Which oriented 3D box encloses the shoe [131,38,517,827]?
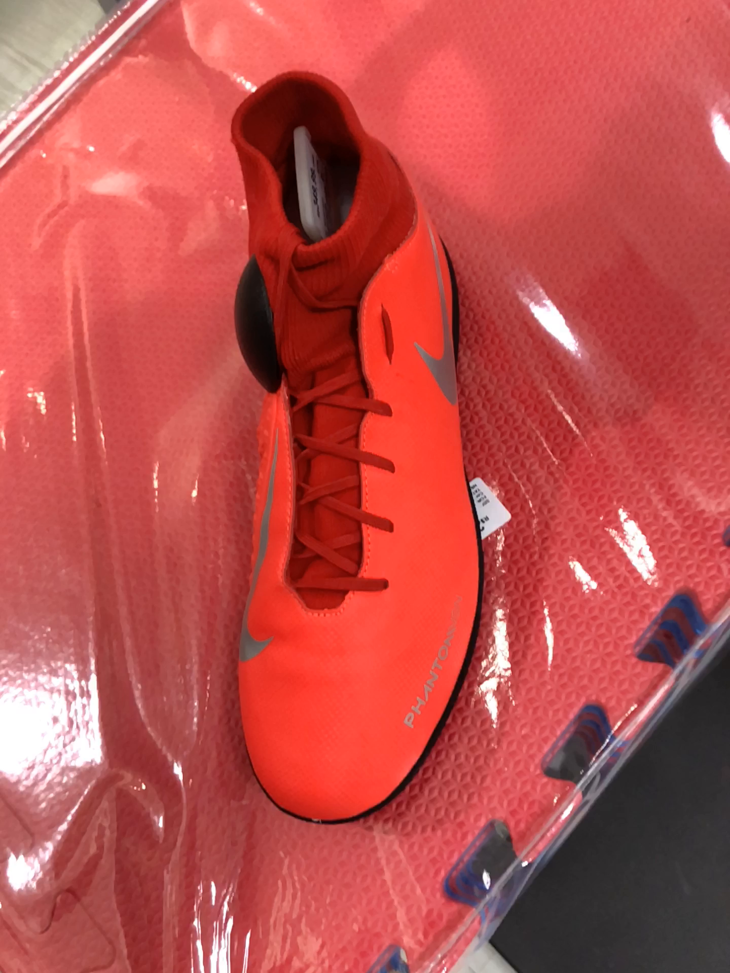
[{"bbox_3d":[0.004,-0.015,0.294,0.090,0.120,0.251,-2,67,12],"label":"shoe"}]
